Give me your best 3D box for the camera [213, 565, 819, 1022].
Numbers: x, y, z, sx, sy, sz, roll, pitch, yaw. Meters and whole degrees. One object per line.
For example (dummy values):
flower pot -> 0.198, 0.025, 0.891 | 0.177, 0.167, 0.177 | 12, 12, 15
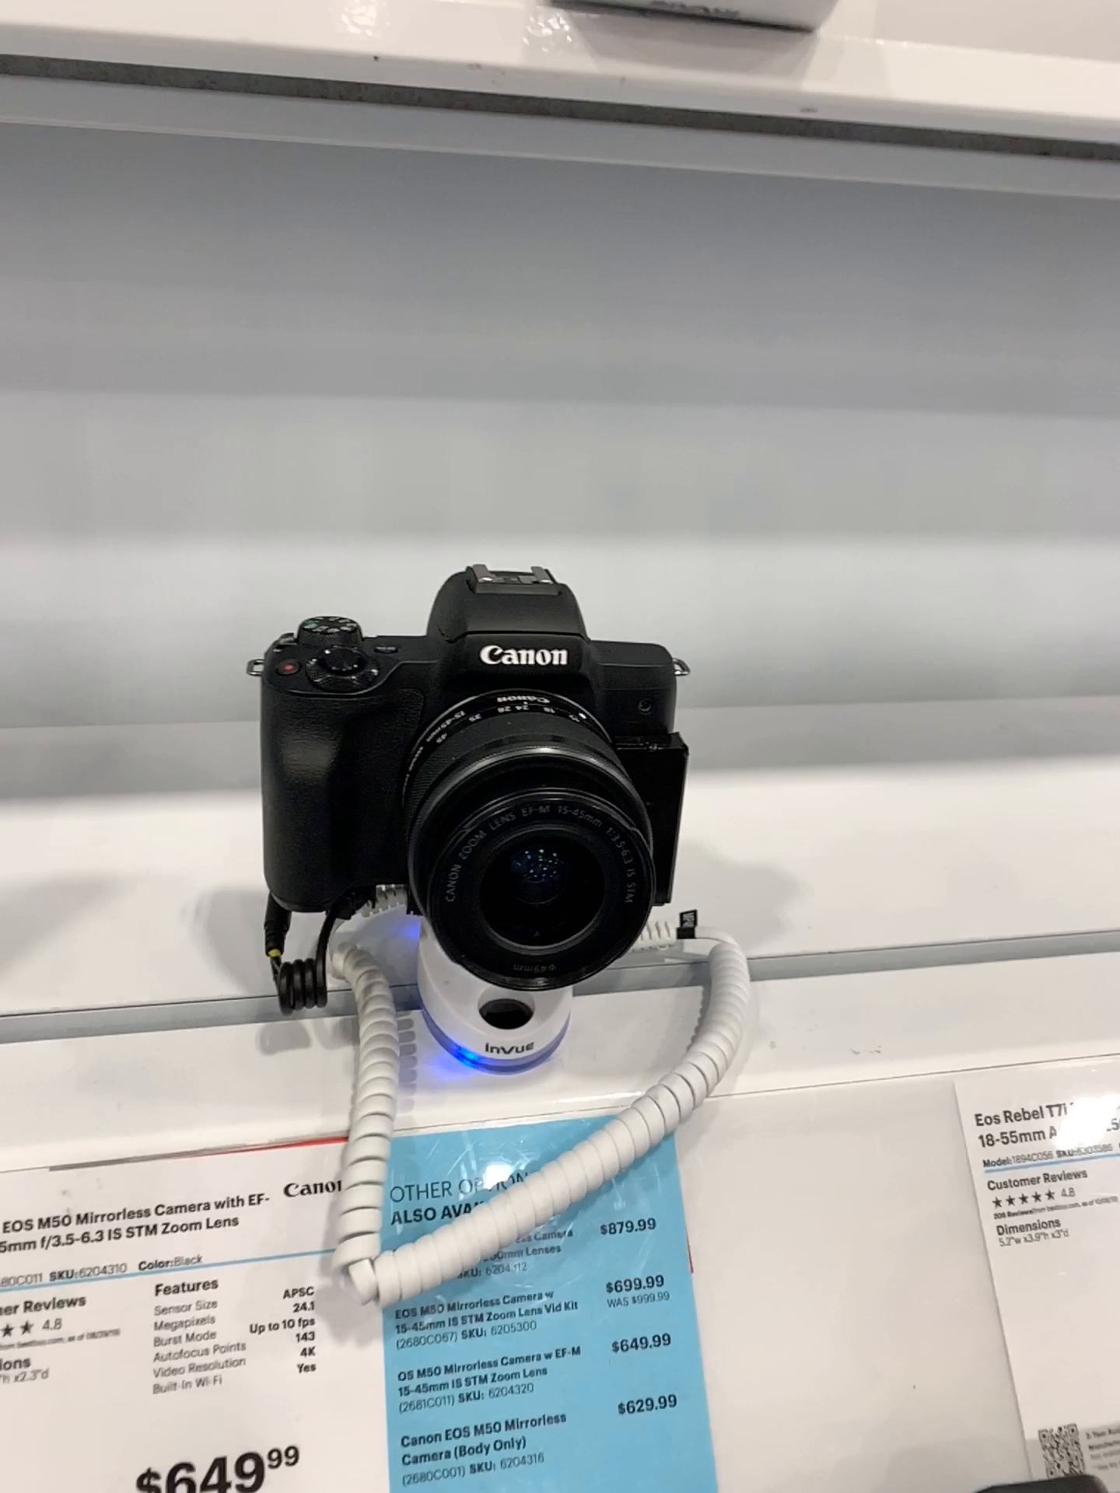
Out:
camera -> -0.018, 0.003, 0.309 | 0.130, 0.080, 0.111 | -2, 21, -11
